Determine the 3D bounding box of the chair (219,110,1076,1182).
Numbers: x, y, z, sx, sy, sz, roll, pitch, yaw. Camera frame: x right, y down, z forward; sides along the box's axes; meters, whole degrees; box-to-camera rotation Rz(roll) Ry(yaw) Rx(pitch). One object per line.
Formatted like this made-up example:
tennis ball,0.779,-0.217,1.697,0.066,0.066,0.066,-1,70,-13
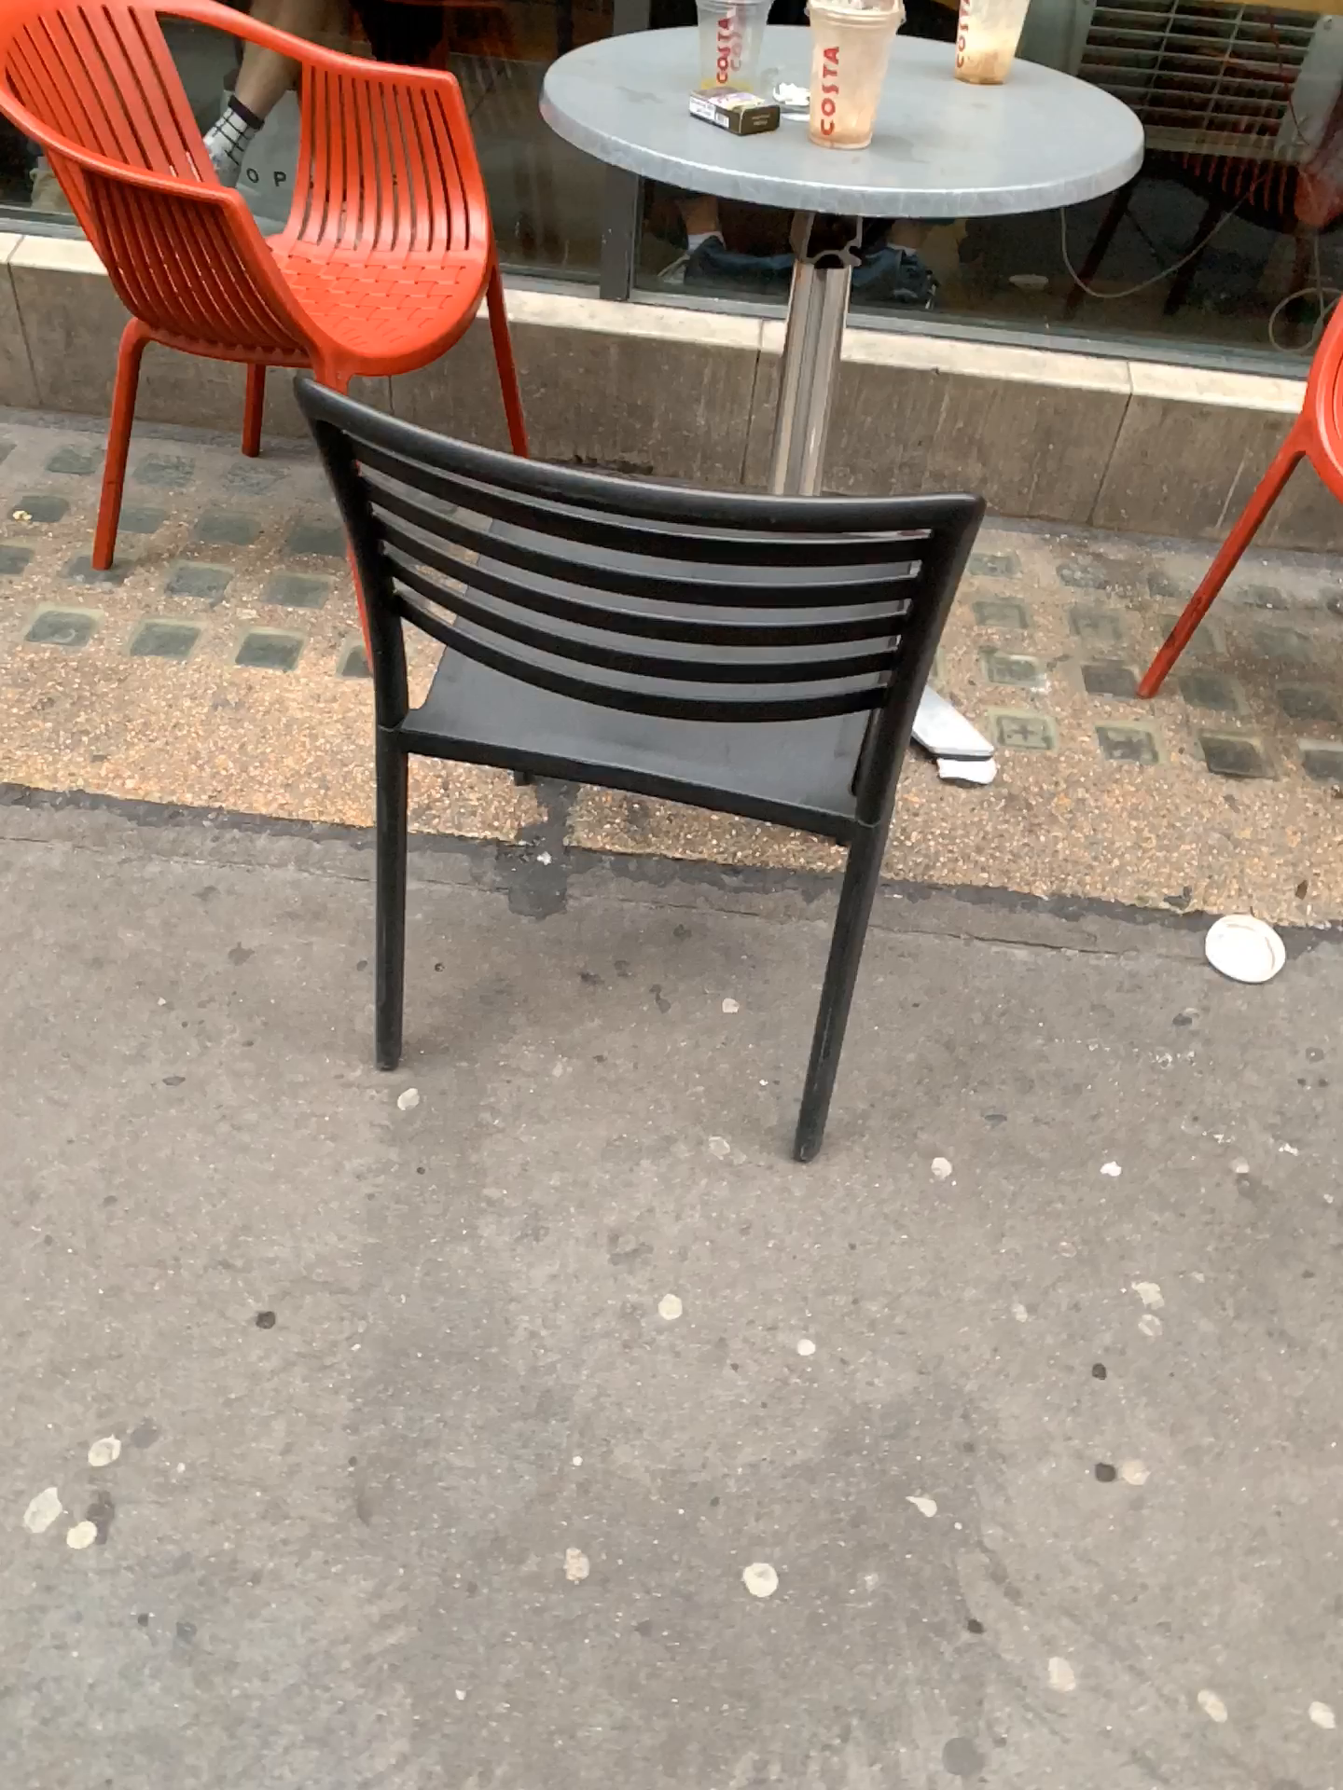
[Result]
chair,-0.006,-0.234,1.338,0.550,0.752,0.606,10,44,3

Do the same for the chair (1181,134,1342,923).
chair,1.350,-0.556,1.985,0.702,0.772,0.644,-23,51,-28

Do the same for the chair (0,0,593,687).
chair,-0.529,-0.836,1.947,0.641,0.742,0.575,16,44,10
